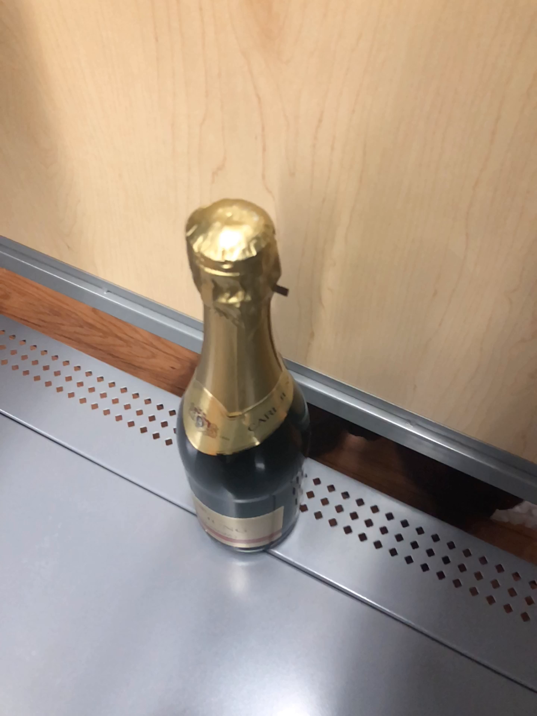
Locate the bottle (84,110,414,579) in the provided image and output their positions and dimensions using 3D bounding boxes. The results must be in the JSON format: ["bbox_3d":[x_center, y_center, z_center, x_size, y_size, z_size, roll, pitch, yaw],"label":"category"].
[{"bbox_3d":[-0.011,0.027,0.348,0.090,0.299,0.090,1,56,-1],"label":"bottle"}]
